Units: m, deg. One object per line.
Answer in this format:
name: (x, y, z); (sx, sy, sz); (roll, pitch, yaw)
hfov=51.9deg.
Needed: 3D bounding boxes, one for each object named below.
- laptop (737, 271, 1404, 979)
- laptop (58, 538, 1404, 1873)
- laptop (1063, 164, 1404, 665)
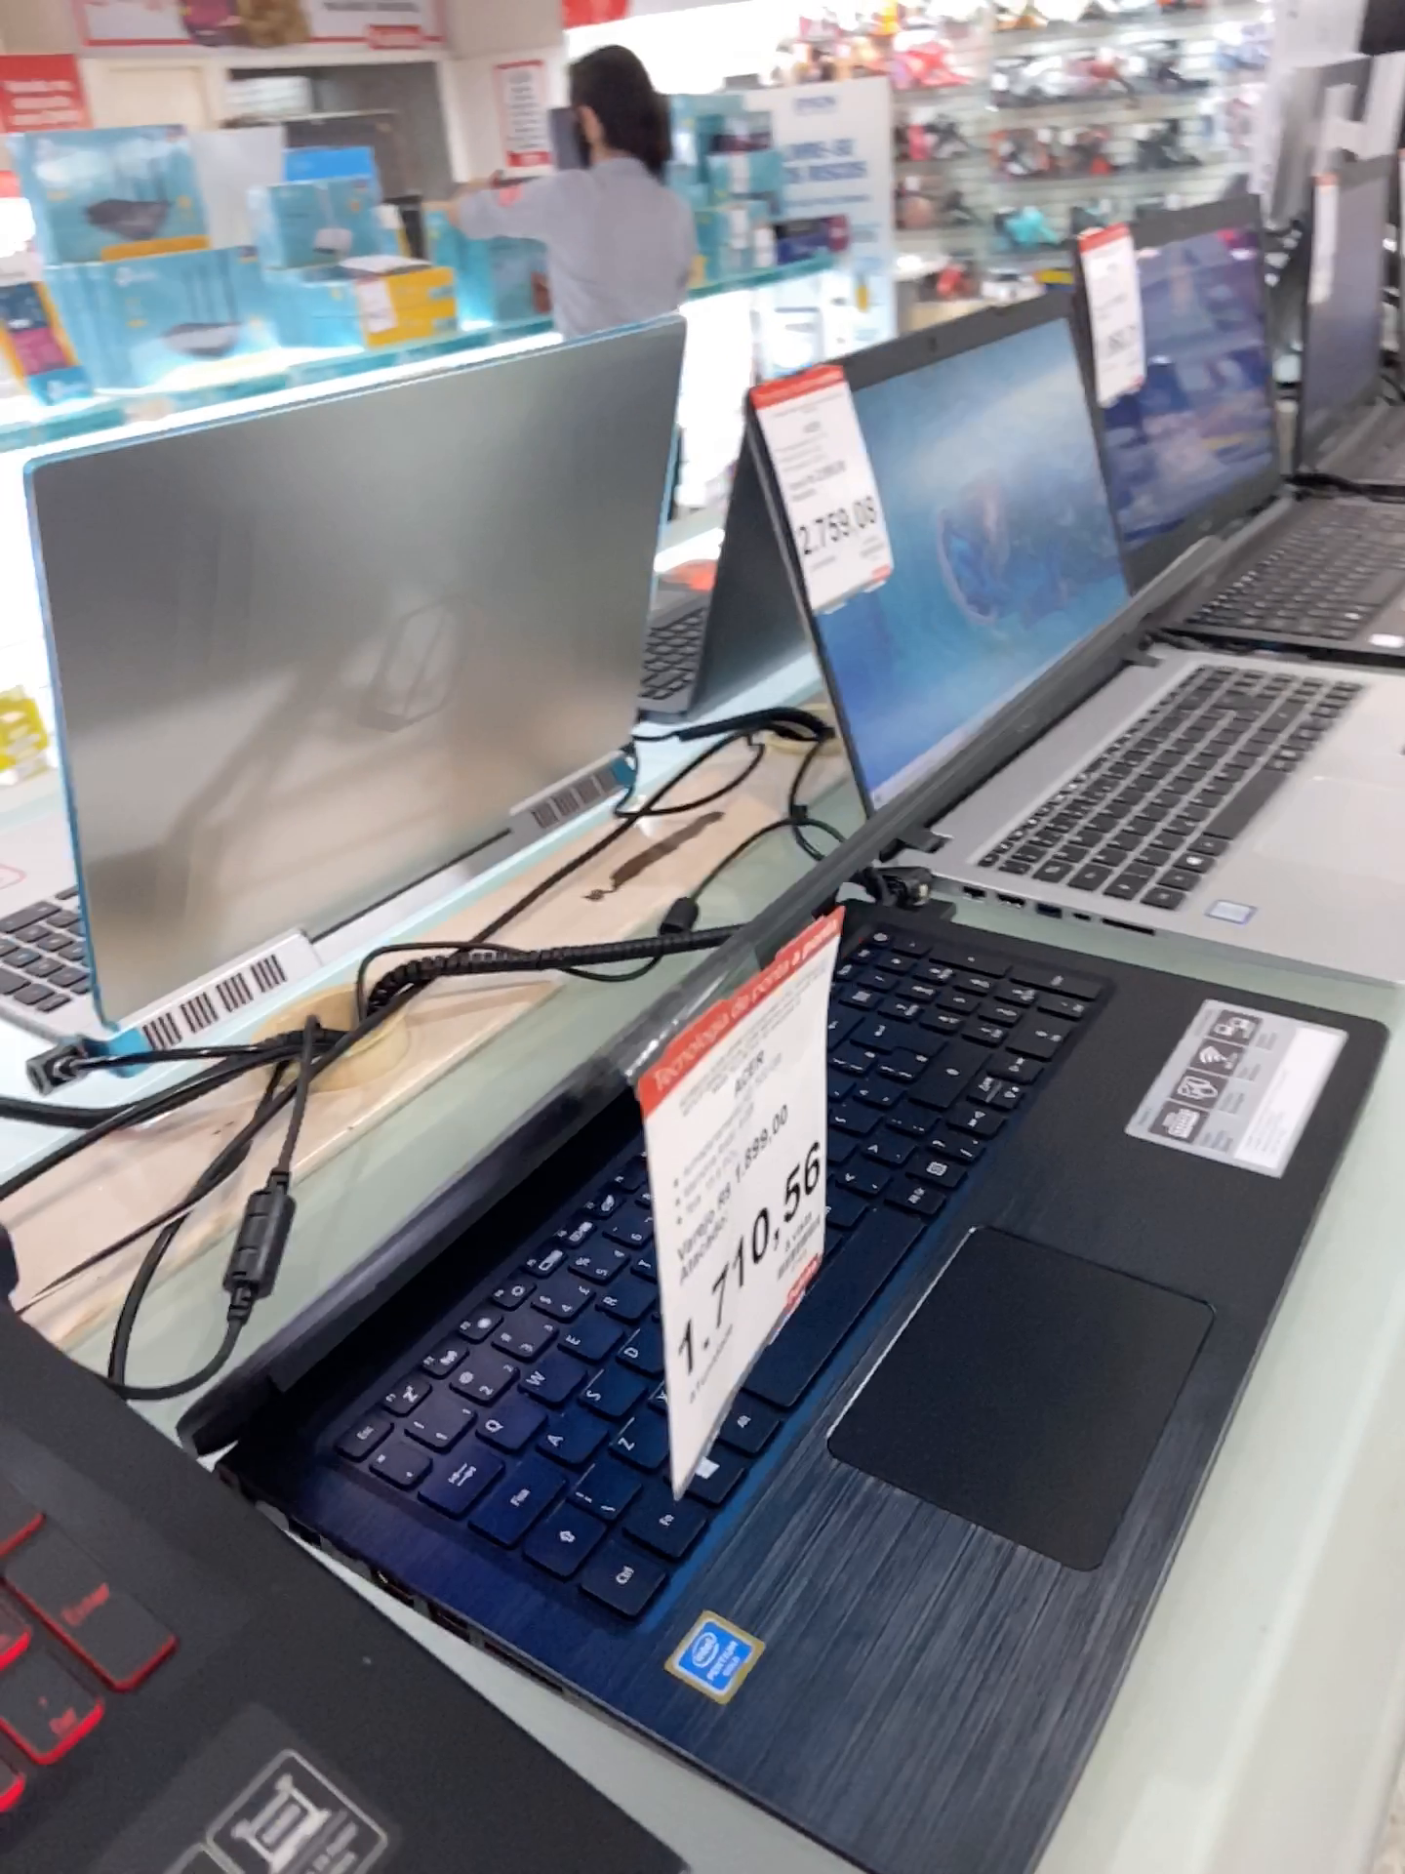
laptop: (0.257, -0.195, 0.748); (0.313, 0.227, 0.364); (15, 34, 34)
laptop: (0.058, 0.017, 0.447); (0.230, 0.169, 0.377); (15, 34, 31)
laptop: (0.490, -0.398, 1.053); (0.299, 0.249, 0.387); (15, 35, 33)
